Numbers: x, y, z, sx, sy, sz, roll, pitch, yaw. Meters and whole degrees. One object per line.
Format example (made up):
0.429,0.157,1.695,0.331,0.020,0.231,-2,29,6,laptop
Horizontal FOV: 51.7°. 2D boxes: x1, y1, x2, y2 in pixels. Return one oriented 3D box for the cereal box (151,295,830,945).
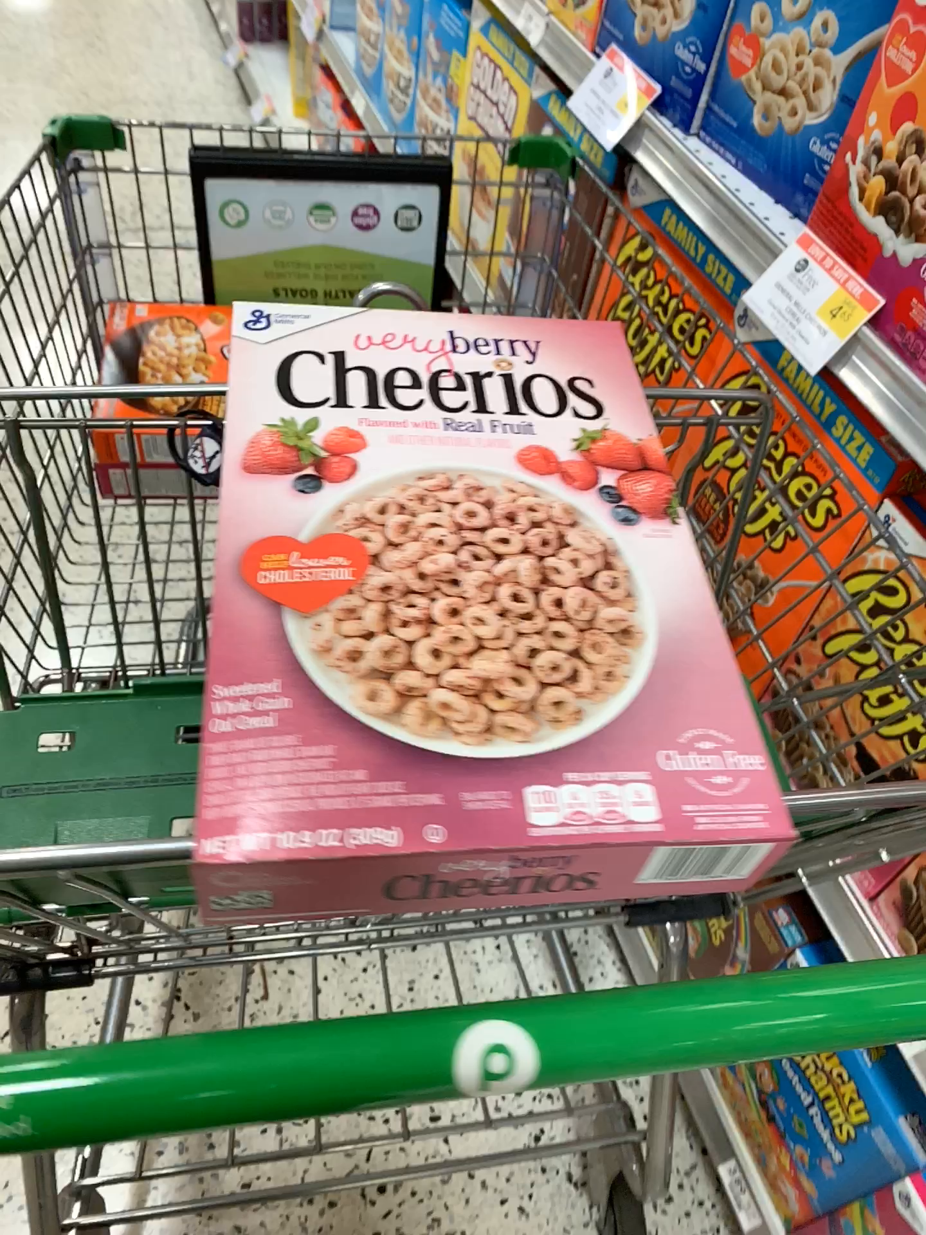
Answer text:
-0.004,-0.021,0.399,0.210,0.059,0.282,0,52,-9,cereal box
